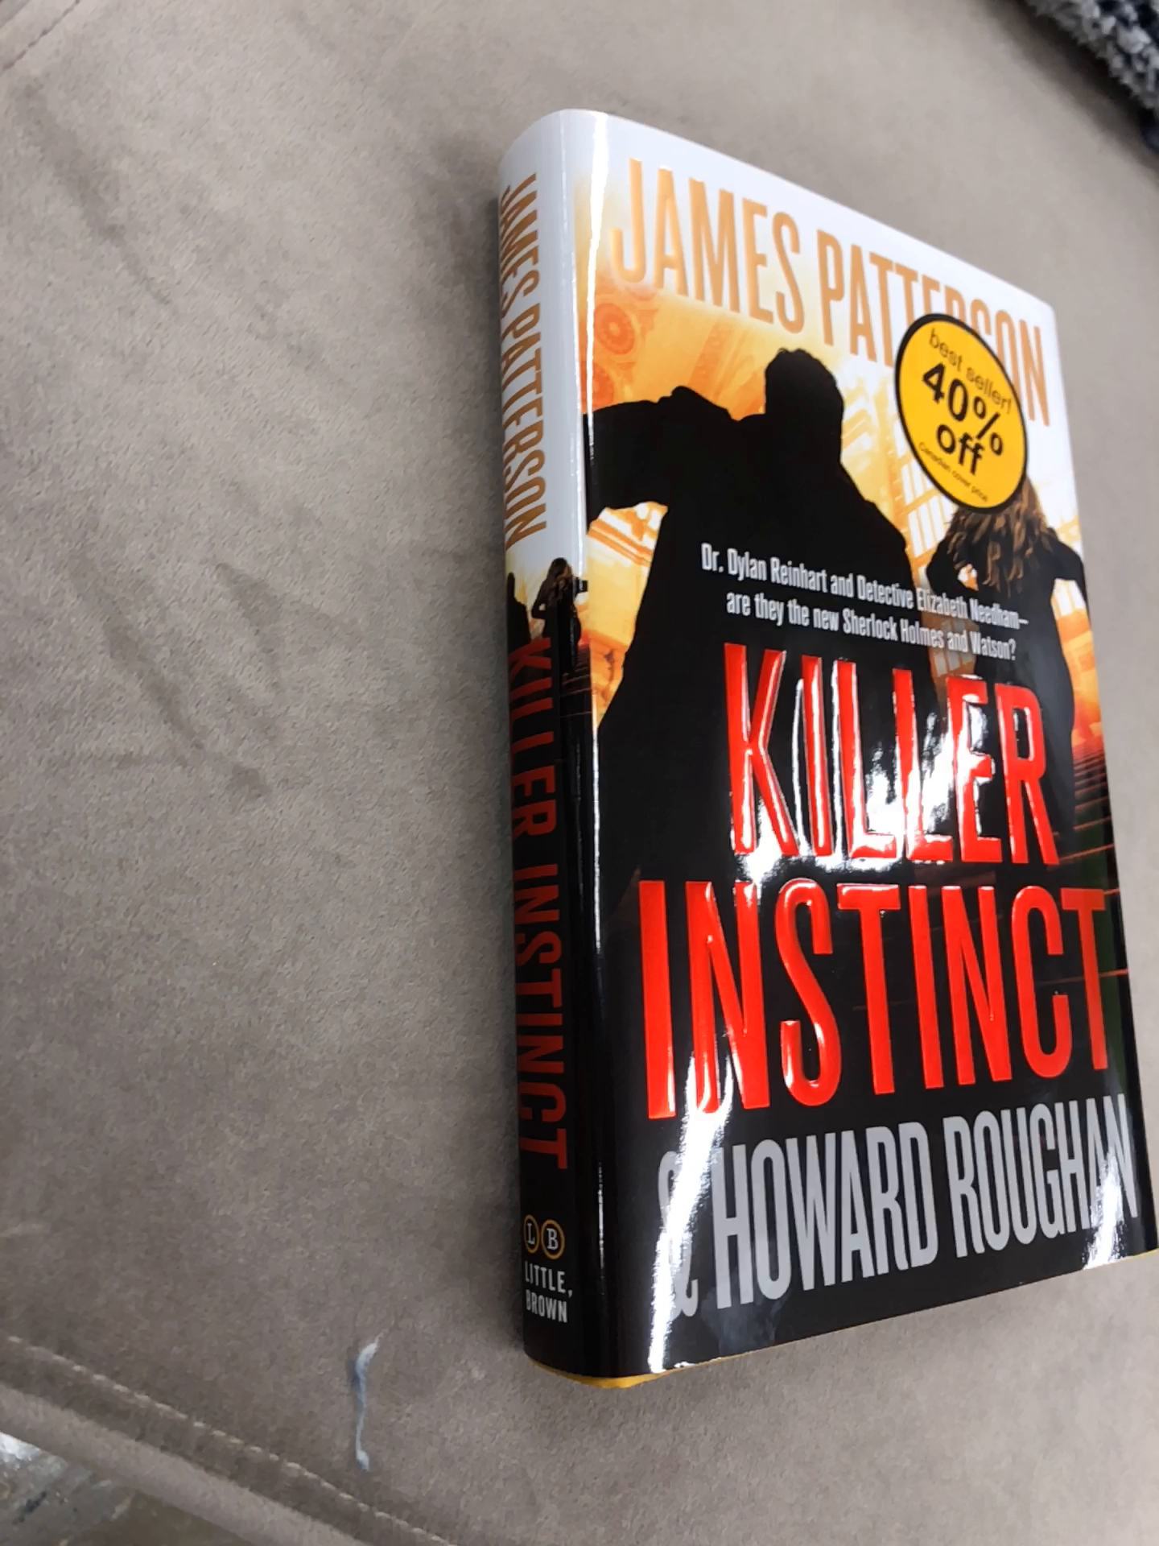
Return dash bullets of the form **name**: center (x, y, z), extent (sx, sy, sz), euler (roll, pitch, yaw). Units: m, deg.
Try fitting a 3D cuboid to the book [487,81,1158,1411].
- **book**: center (0.066, -0.006, 0.291), extent (0.173, 0.038, 0.237), euler (5, 78, -34)
